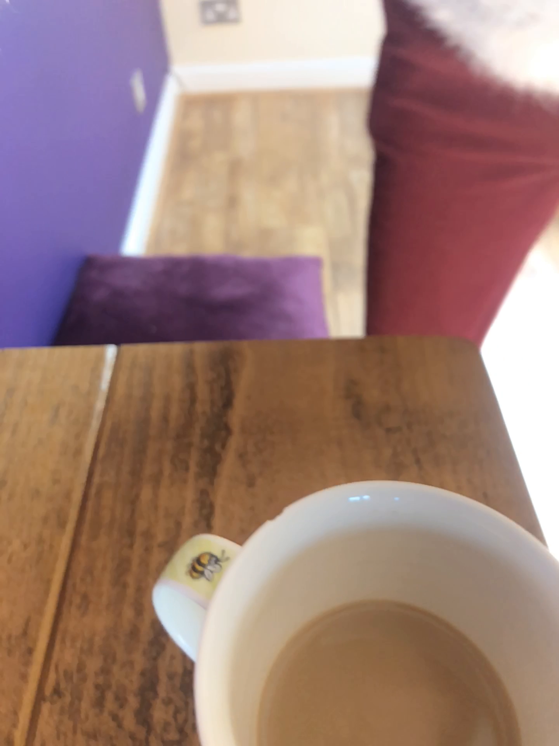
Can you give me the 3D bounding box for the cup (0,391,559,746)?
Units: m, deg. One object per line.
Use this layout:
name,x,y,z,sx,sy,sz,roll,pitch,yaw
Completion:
cup,0.016,0.092,0.184,0.127,0.089,0.107,20,51,21
